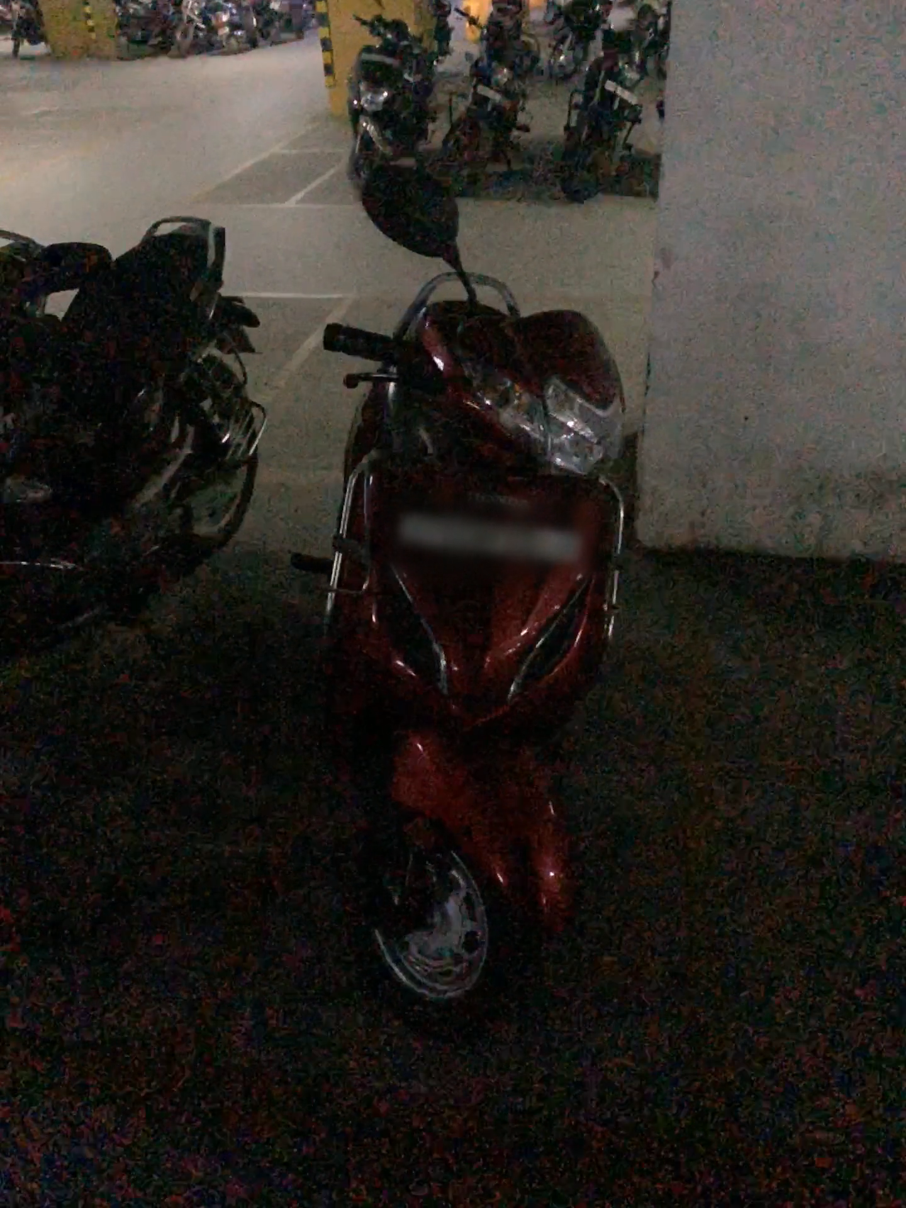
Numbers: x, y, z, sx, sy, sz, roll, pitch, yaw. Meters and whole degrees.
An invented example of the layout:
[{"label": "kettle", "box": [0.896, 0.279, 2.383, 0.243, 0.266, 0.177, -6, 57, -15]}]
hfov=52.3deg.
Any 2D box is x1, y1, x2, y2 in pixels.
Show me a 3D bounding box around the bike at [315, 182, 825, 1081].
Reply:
[{"label": "bike", "box": [0.102, -0.049, 1.871, 0.487, 0.909, 1.397, -9, 44, -7]}]
